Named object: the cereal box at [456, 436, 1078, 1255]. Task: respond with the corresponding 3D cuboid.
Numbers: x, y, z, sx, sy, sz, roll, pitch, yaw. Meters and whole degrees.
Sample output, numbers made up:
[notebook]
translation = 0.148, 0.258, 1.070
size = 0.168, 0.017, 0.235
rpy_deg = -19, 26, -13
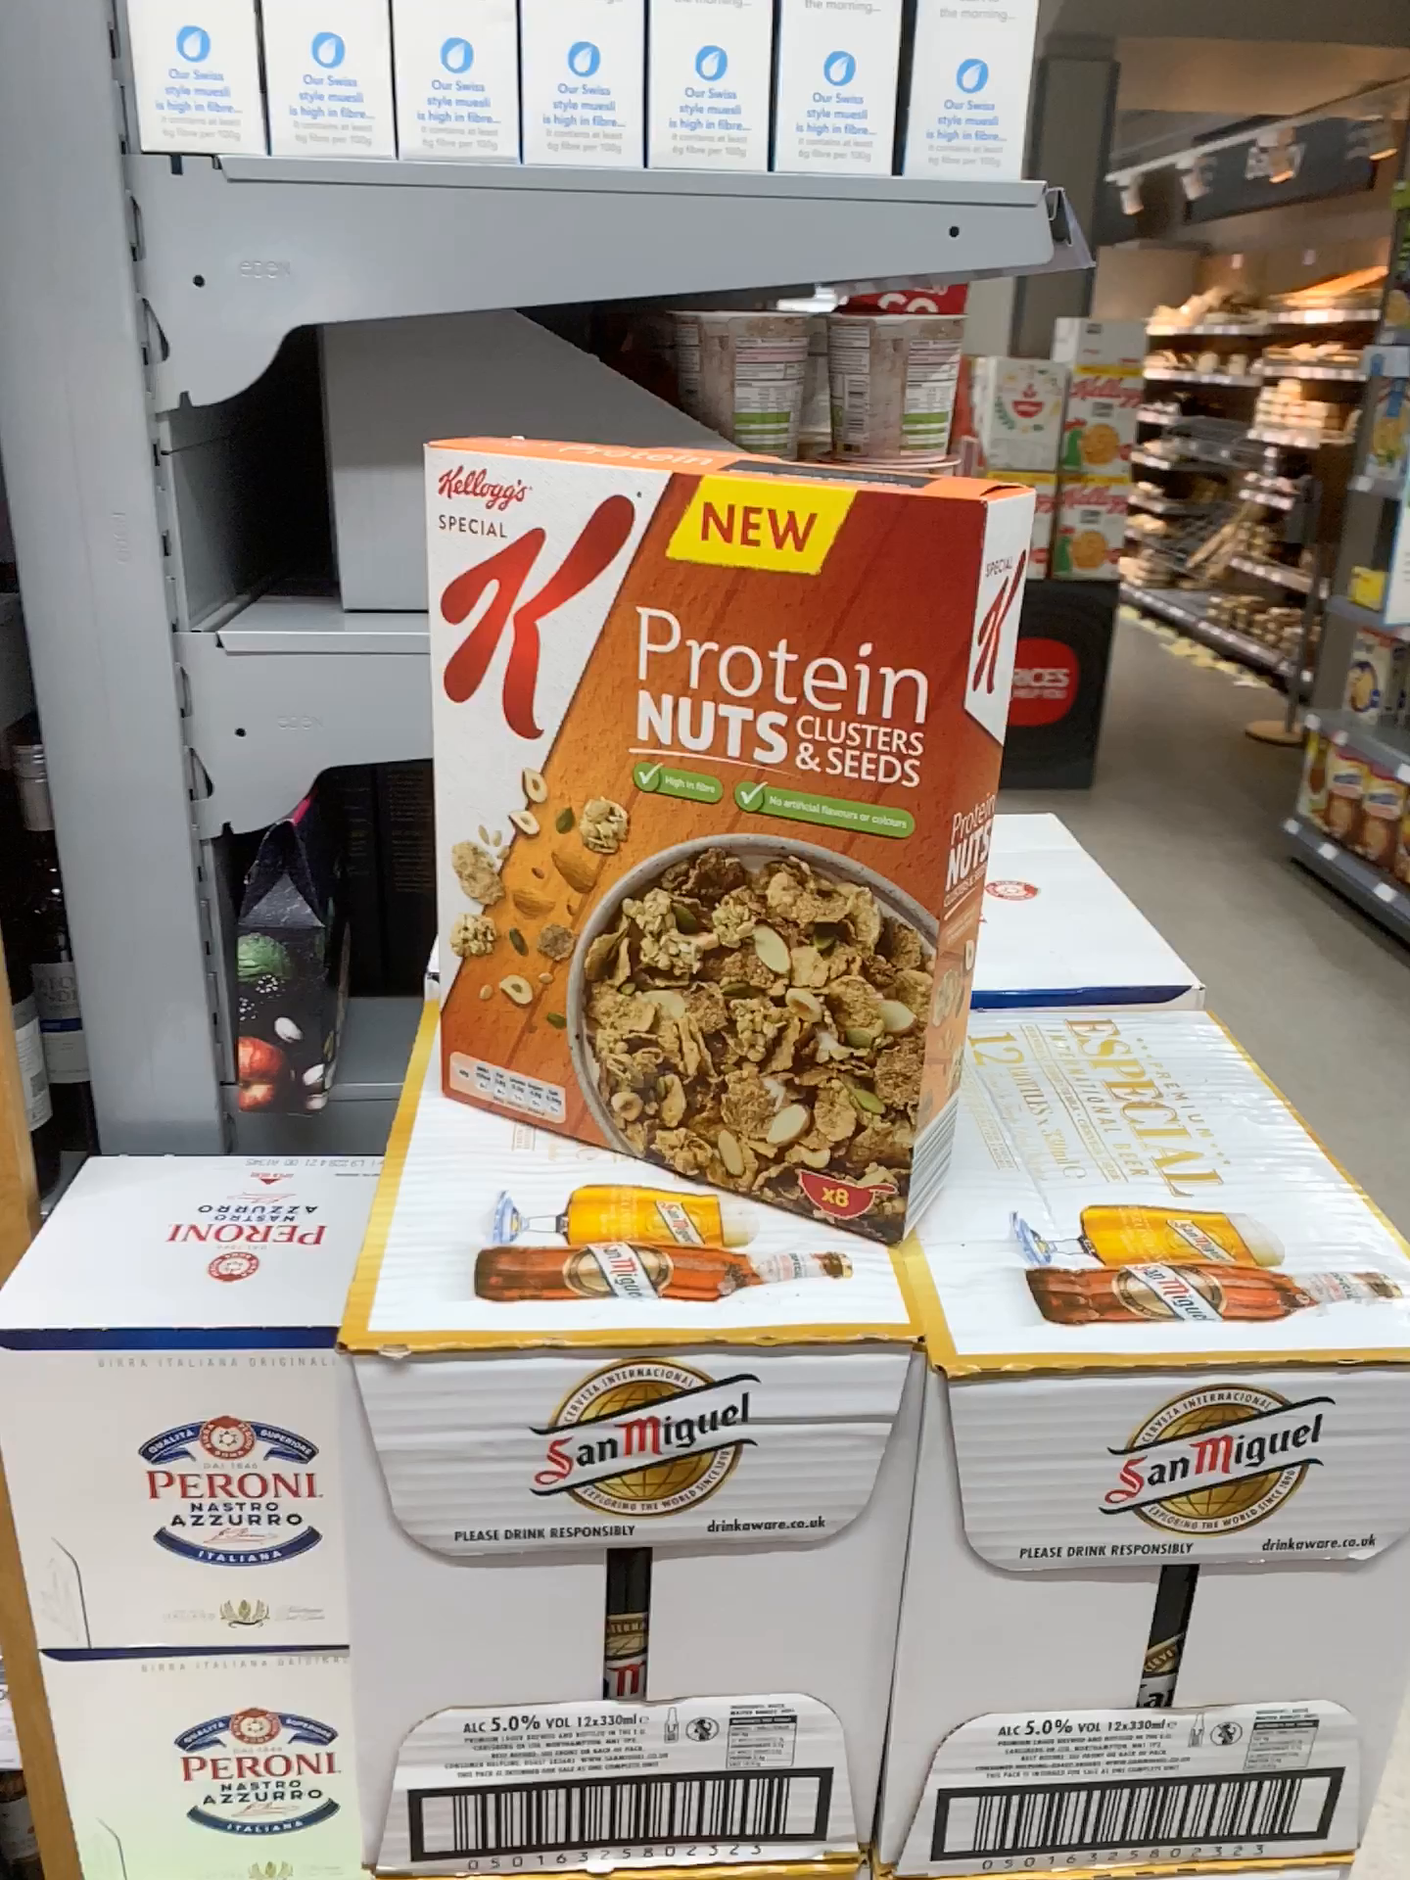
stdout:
[cereal box]
translation = 0.010, -0.038, 0.488
size = 0.190, 0.238, 0.050
rpy_deg = 14, 24, 27
